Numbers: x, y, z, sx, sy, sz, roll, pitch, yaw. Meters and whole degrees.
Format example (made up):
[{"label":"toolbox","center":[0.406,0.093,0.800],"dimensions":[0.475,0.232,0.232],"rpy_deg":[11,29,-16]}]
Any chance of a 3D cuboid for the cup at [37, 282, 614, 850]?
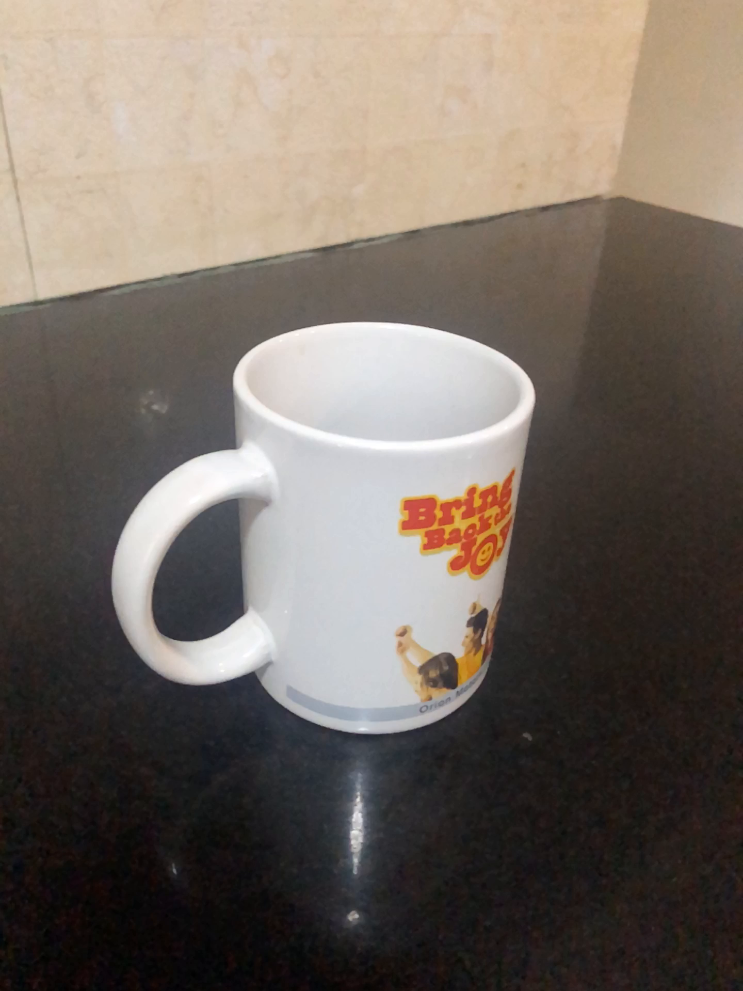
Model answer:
[{"label":"cup","center":[-0.012,0.009,0.234],"dimensions":[0.120,0.099,0.080],"rpy_deg":[-19,38,-30]}]
